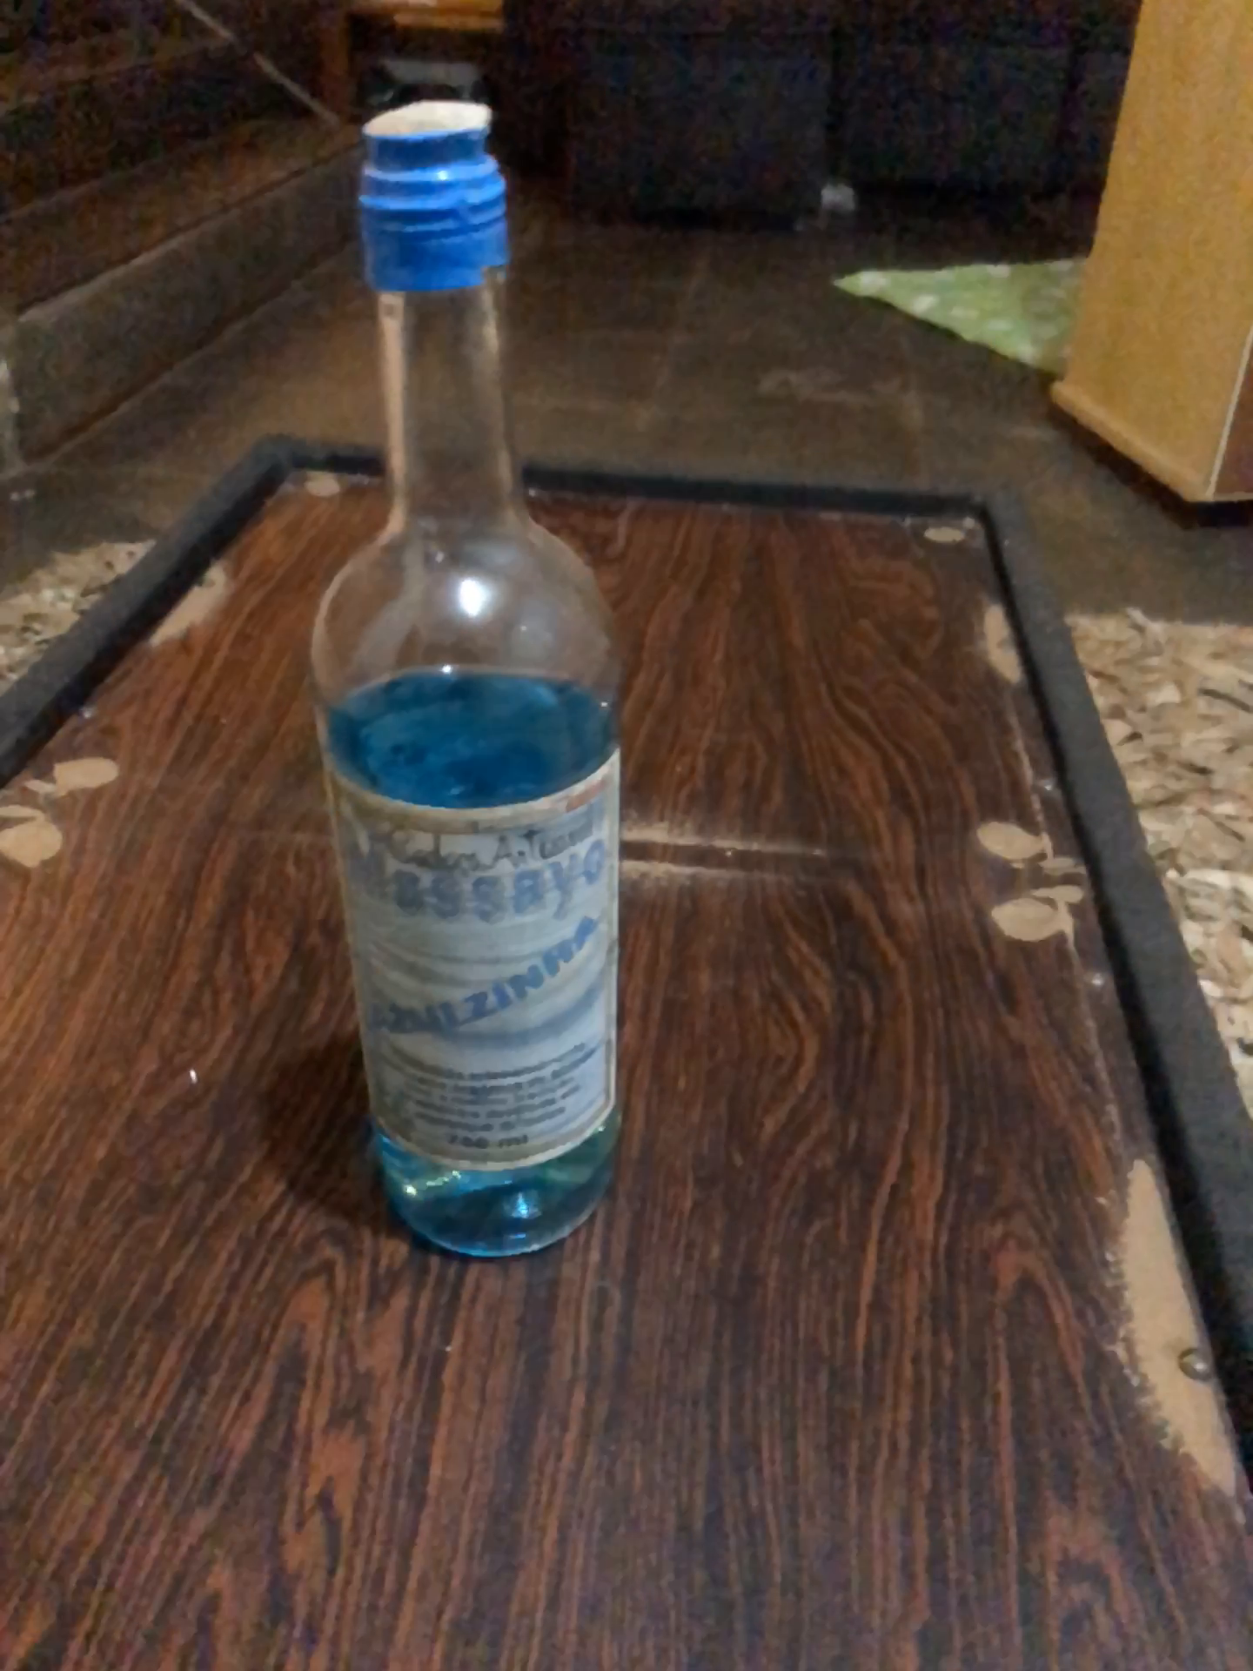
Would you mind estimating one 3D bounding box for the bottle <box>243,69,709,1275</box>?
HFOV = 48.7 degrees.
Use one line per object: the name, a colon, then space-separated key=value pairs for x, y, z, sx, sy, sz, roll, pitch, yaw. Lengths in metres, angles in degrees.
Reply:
bottle: x=-0.032 y=-0.021 z=0.354 sx=0.080 sy=0.298 sz=0.081 roll=1 pitch=33 yaw=-1
